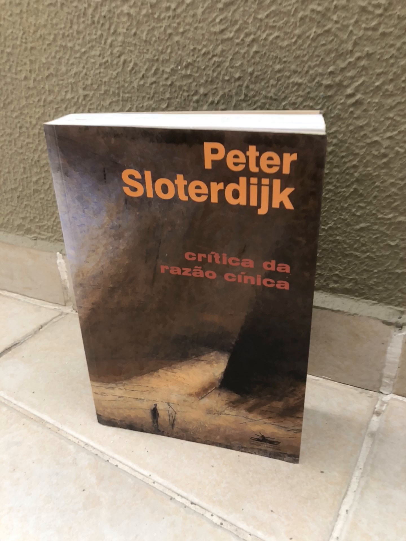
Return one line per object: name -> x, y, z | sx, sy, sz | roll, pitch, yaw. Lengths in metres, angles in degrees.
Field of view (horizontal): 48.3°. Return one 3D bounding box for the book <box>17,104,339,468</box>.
book -> -0.008, 0.012, 0.296 | 0.165, 0.220, 0.058 | 6, 28, 15
